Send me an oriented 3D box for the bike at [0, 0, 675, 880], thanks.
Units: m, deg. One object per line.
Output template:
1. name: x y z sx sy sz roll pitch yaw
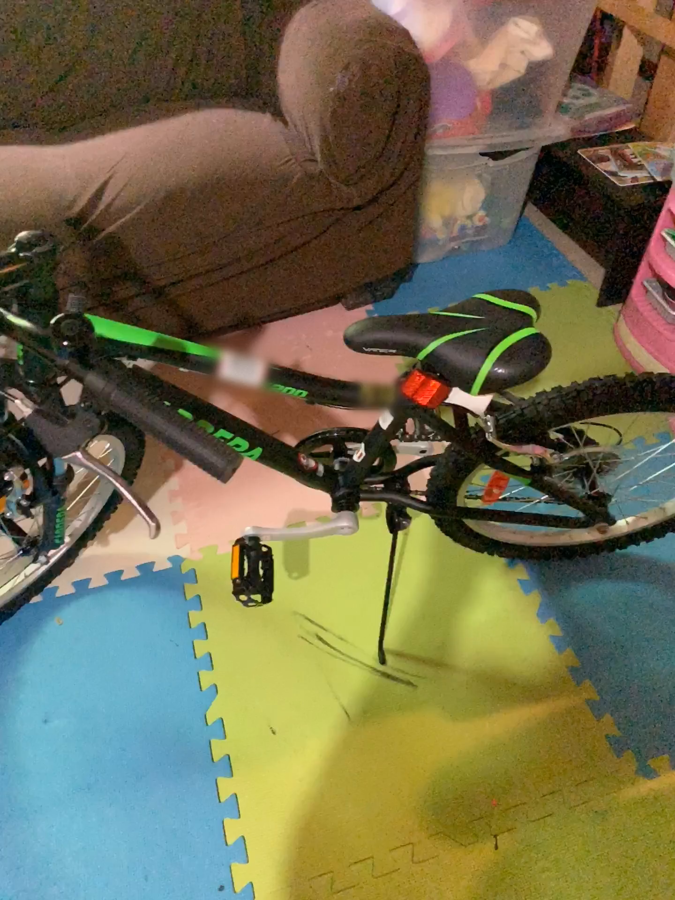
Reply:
1. bike: -0.036 -0.002 0.881 1.268 0.841 0.536 -11 47 -5
